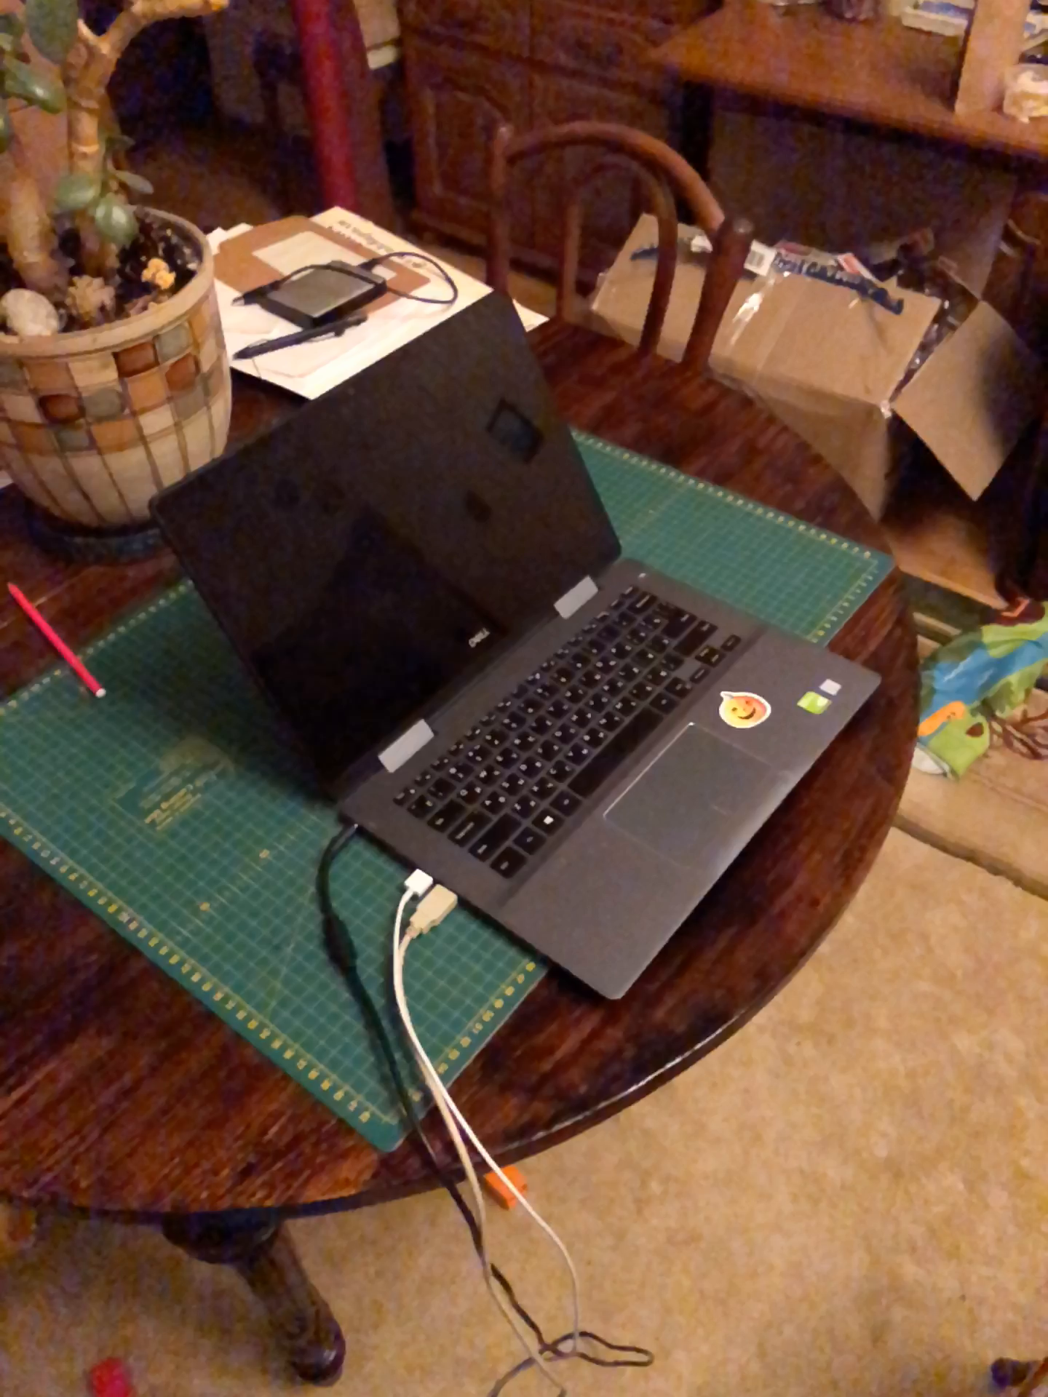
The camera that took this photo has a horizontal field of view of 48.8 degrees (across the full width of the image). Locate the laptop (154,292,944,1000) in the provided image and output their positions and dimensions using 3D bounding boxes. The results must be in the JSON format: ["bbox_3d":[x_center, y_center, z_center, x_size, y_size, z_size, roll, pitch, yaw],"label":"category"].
[{"bbox_3d":[0.020,-0.061,0.748,0.336,0.192,0.322,30,54,26],"label":"laptop"}]
